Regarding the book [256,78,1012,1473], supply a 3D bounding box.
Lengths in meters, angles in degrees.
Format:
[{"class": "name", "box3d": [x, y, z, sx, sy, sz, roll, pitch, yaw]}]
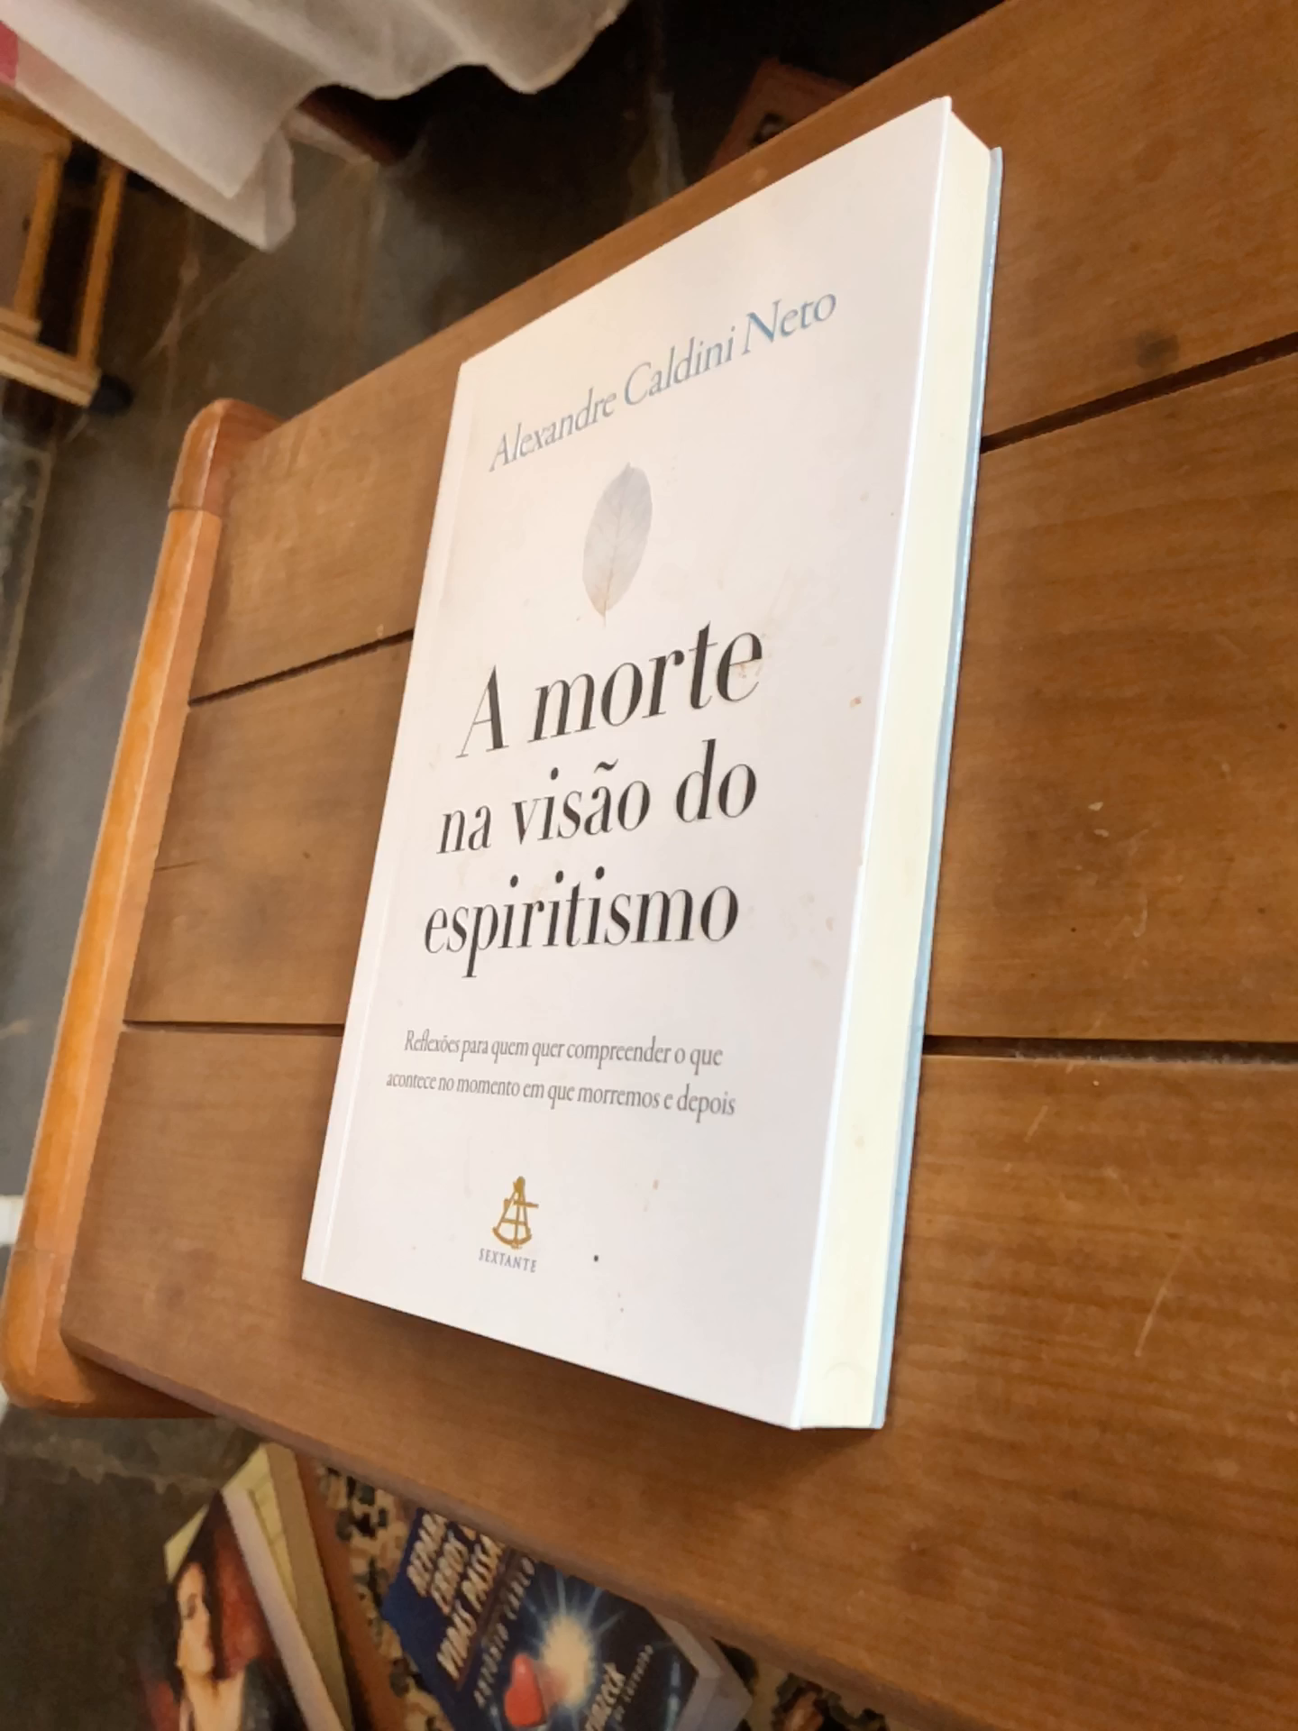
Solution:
[{"class": "book", "box3d": [-0.009, -0.016, 0.251, 0.136, 0.020, 0.196, -5, 72, 48]}]
